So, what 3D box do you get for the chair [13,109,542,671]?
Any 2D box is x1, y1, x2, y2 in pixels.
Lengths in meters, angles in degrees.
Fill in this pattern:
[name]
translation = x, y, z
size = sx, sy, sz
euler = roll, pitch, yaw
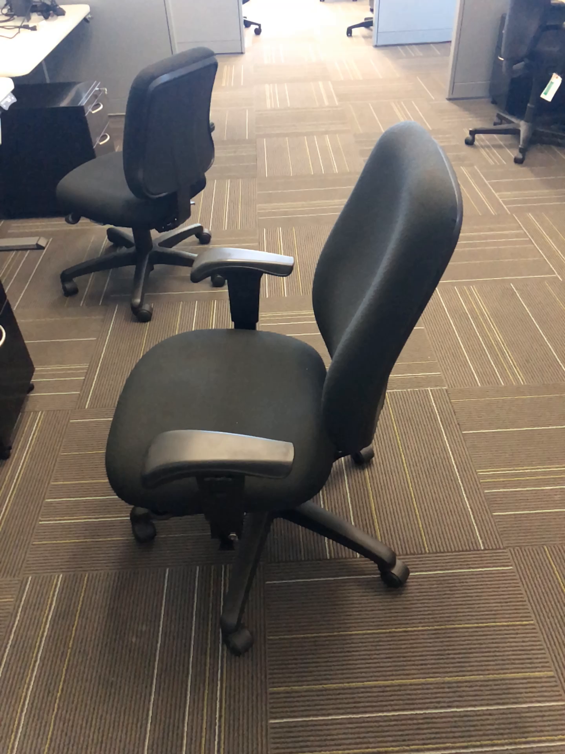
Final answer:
[chair]
translation = -0.005, 0.033, 1.388
size = 0.680, 0.955, 0.744
euler = -4, 39, -1
